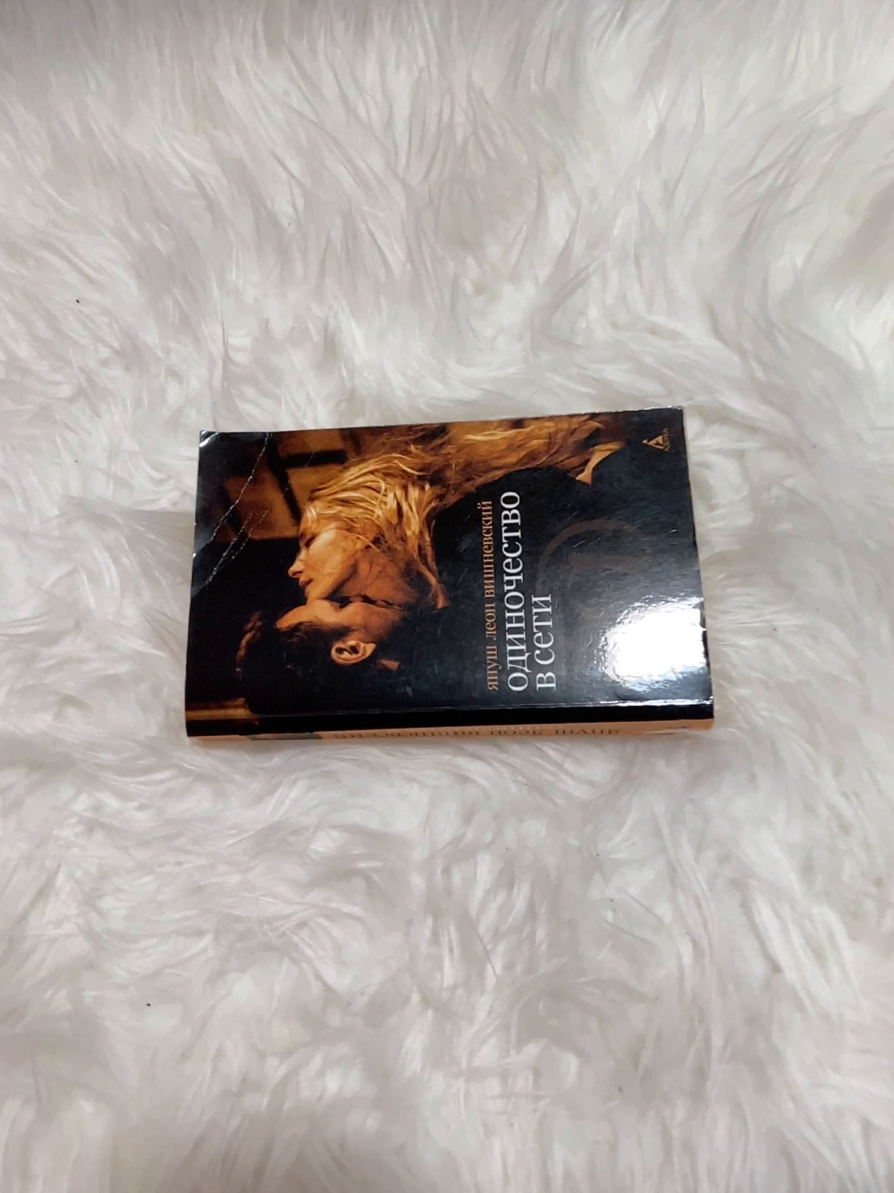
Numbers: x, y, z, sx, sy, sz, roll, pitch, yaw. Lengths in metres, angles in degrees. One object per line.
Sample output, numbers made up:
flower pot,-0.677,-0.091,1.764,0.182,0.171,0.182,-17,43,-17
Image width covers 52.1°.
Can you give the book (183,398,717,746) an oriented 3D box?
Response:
book,-0.001,-0.008,0.332,0.176,0.030,0.113,-3,73,3
